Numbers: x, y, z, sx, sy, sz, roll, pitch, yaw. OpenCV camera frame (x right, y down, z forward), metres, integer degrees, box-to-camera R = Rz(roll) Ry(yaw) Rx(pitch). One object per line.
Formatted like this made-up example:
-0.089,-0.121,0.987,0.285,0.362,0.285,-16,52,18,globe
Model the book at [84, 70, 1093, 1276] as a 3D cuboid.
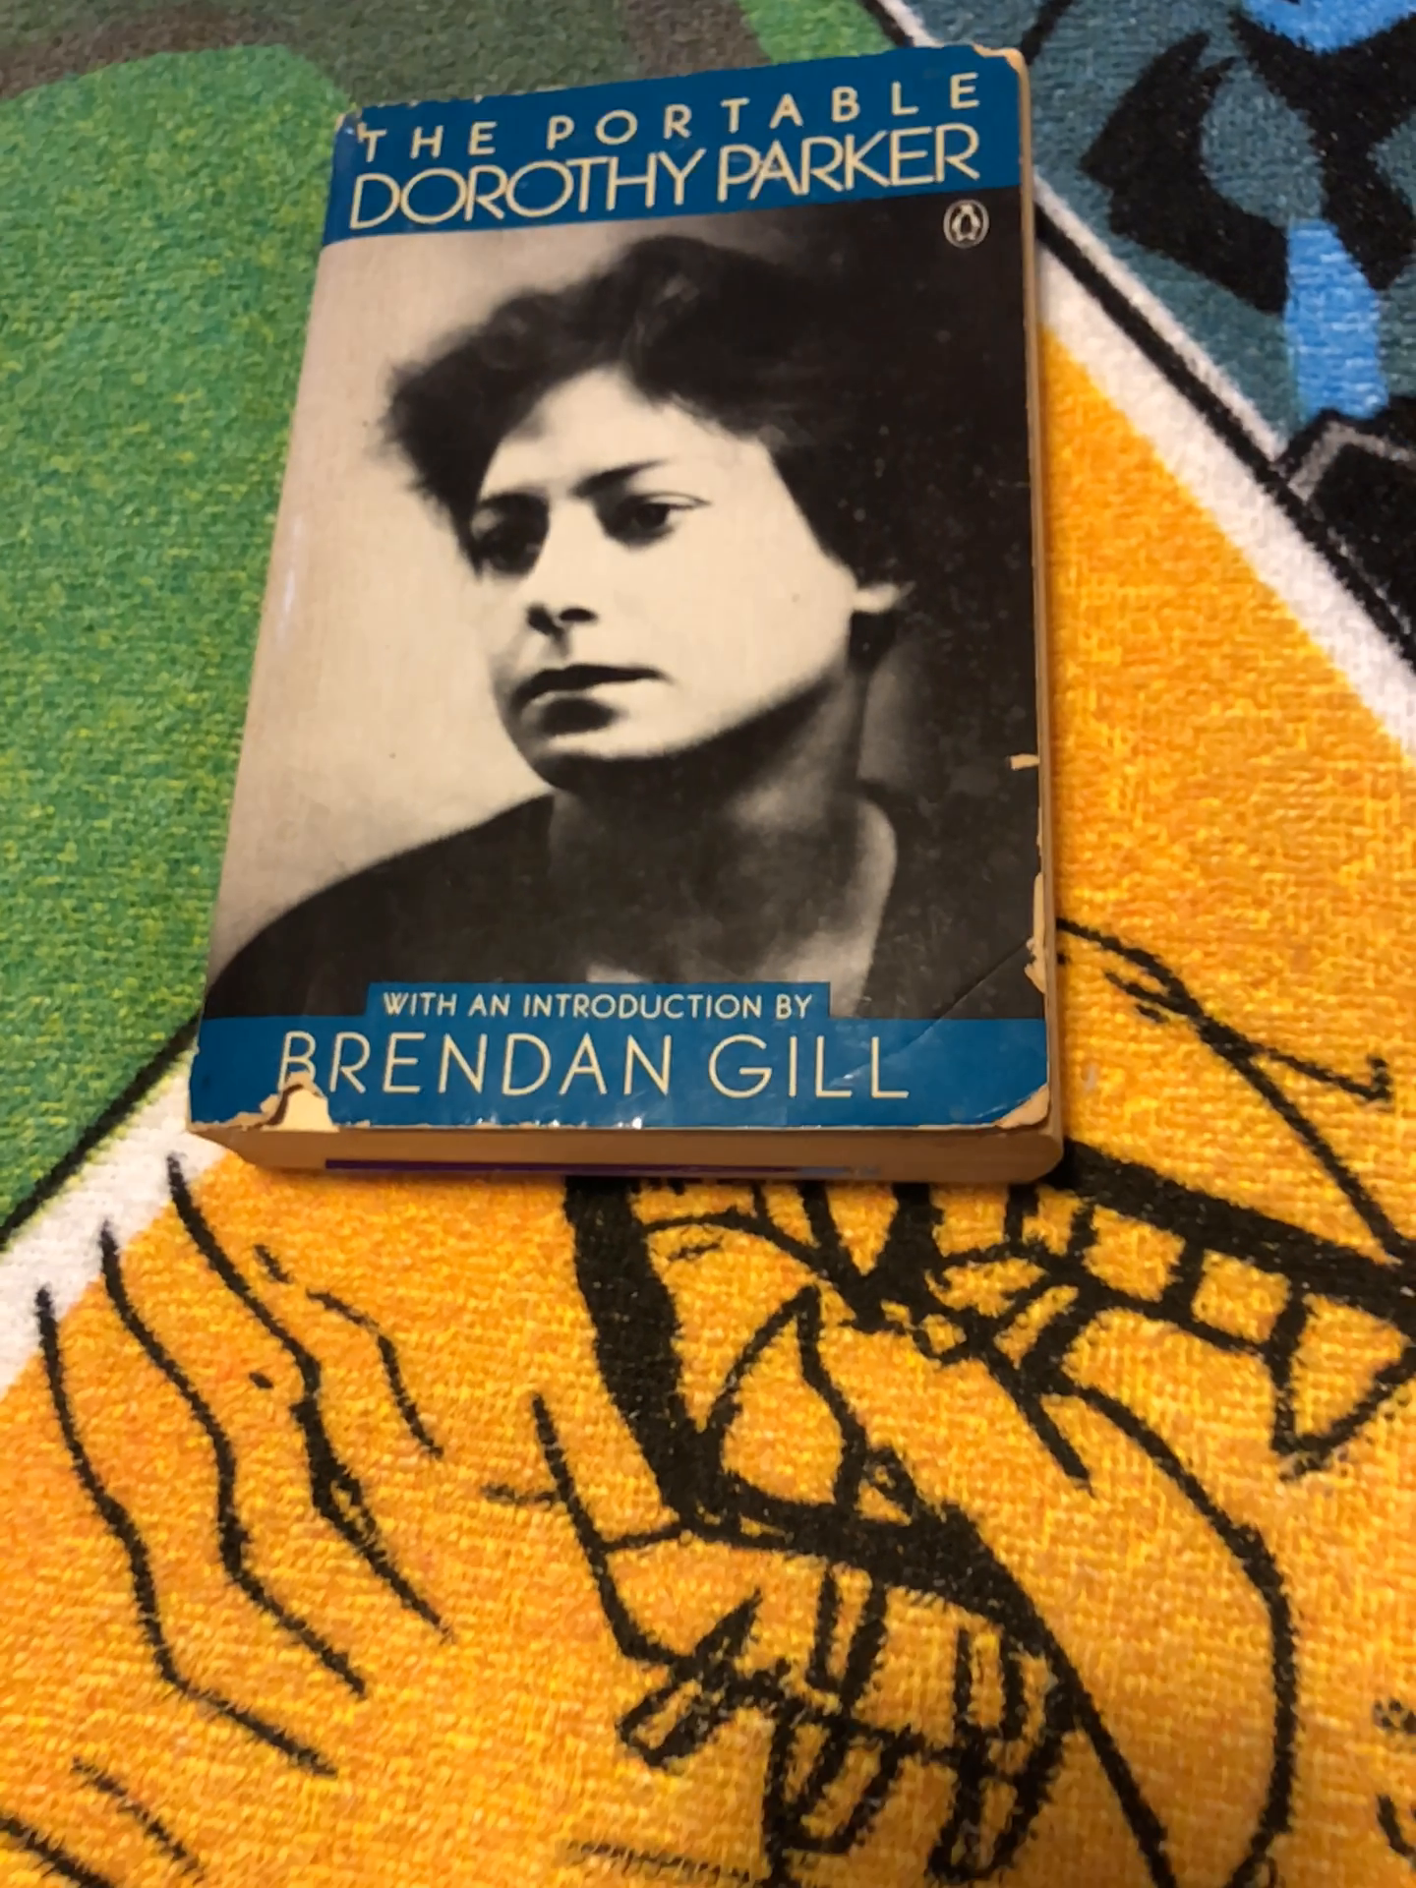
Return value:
-0.012,-0.050,0.268,0.140,0.040,0.200,1,71,7,book
